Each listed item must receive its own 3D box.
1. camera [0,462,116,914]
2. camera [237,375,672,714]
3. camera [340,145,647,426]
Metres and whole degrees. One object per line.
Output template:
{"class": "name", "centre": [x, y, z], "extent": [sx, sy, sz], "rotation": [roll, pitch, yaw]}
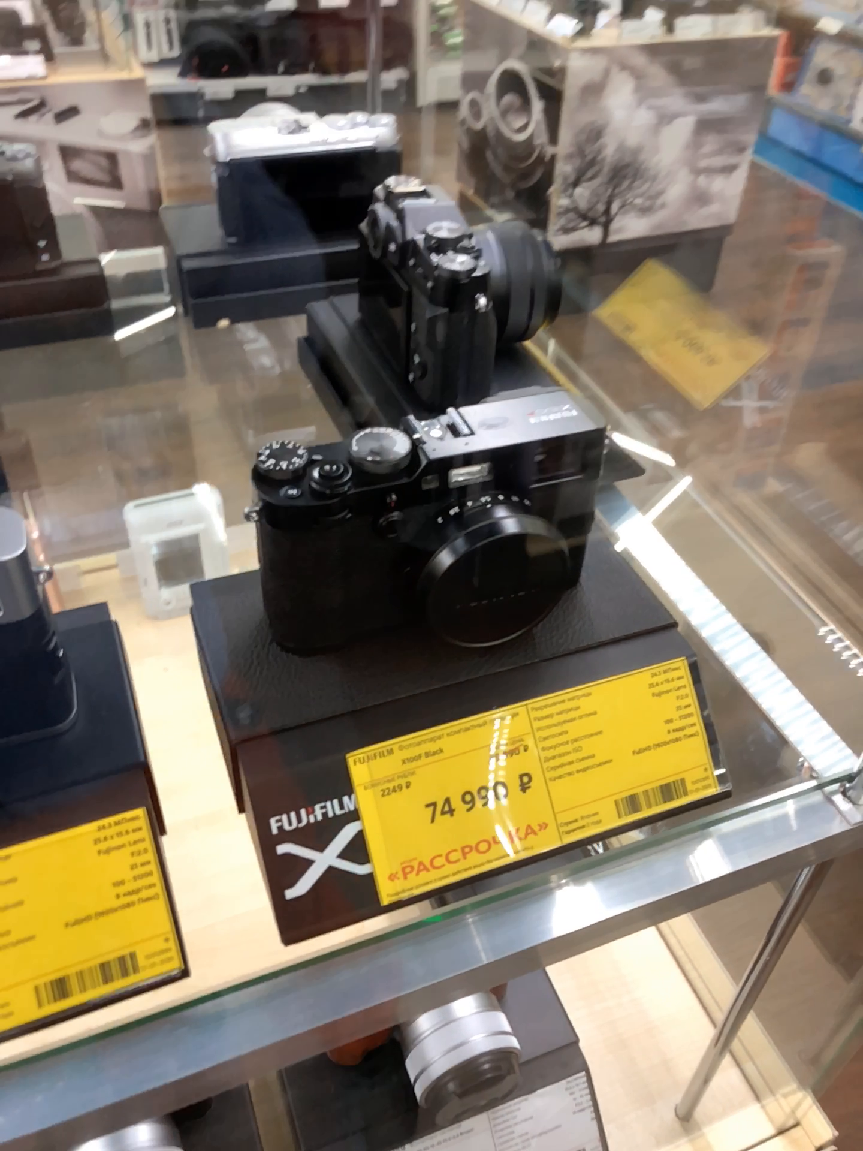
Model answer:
{"class": "camera", "centre": [-0.167, 0.029, 0.267], "extent": [0.131, 0.081, 0.055], "rotation": [-13, 43, -18]}
{"class": "camera", "centre": [0.006, -0.013, 0.333], "extent": [0.131, 0.075, 0.055], "rotation": [-13, 43, -18]}
{"class": "camera", "centre": [0.024, -0.153, 0.486], "extent": [0.104, 0.081, 0.131], "rotation": [-13, 43, -18]}
